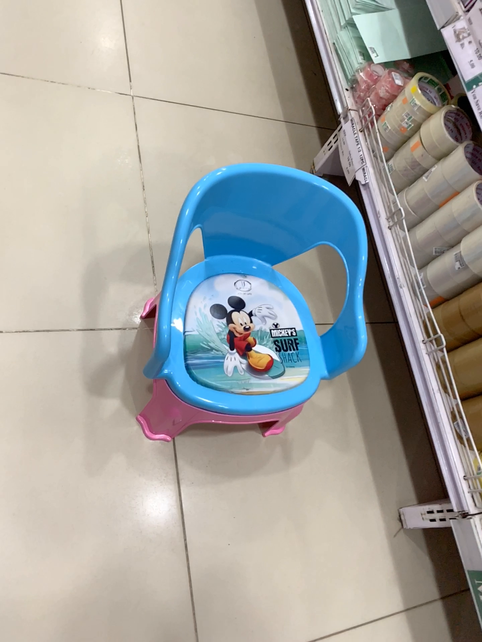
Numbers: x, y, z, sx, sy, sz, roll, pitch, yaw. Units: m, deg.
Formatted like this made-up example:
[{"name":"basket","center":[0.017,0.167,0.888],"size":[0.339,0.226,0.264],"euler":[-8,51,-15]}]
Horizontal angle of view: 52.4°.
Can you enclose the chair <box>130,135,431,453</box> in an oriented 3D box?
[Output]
[{"name":"chair","center":[0.022,-0.011,0.816],"size":[0.351,0.319,0.390],"euler":[3,68,-22]}]
